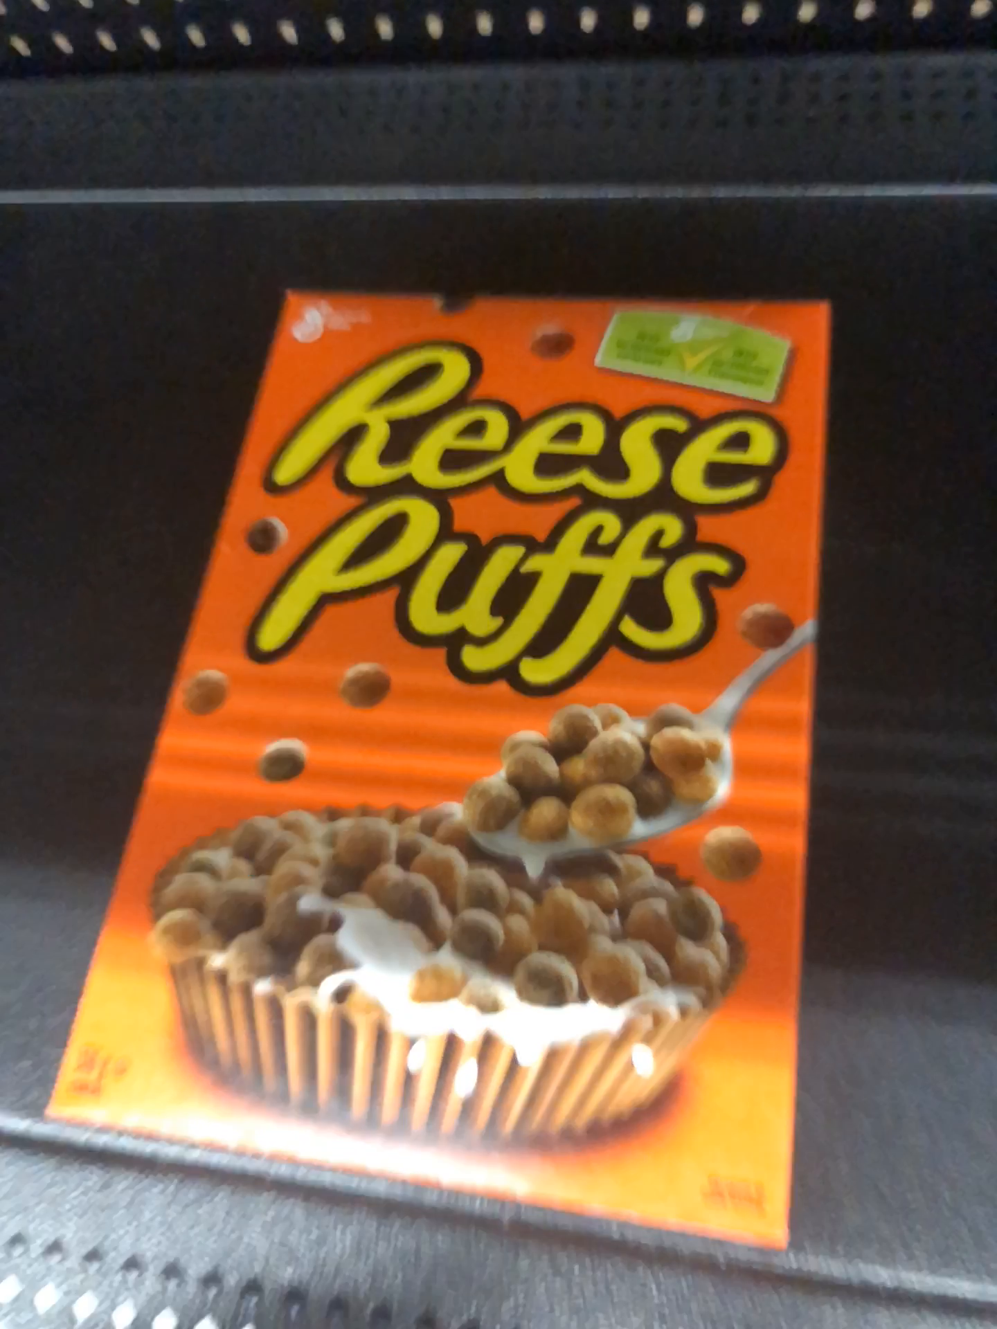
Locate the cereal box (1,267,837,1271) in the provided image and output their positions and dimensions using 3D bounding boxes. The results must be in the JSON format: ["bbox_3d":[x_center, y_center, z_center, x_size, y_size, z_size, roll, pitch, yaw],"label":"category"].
[{"bbox_3d":[-0.006,0.006,0.346,0.200,0.050,0.291,5,67,12],"label":"cereal box"}]
